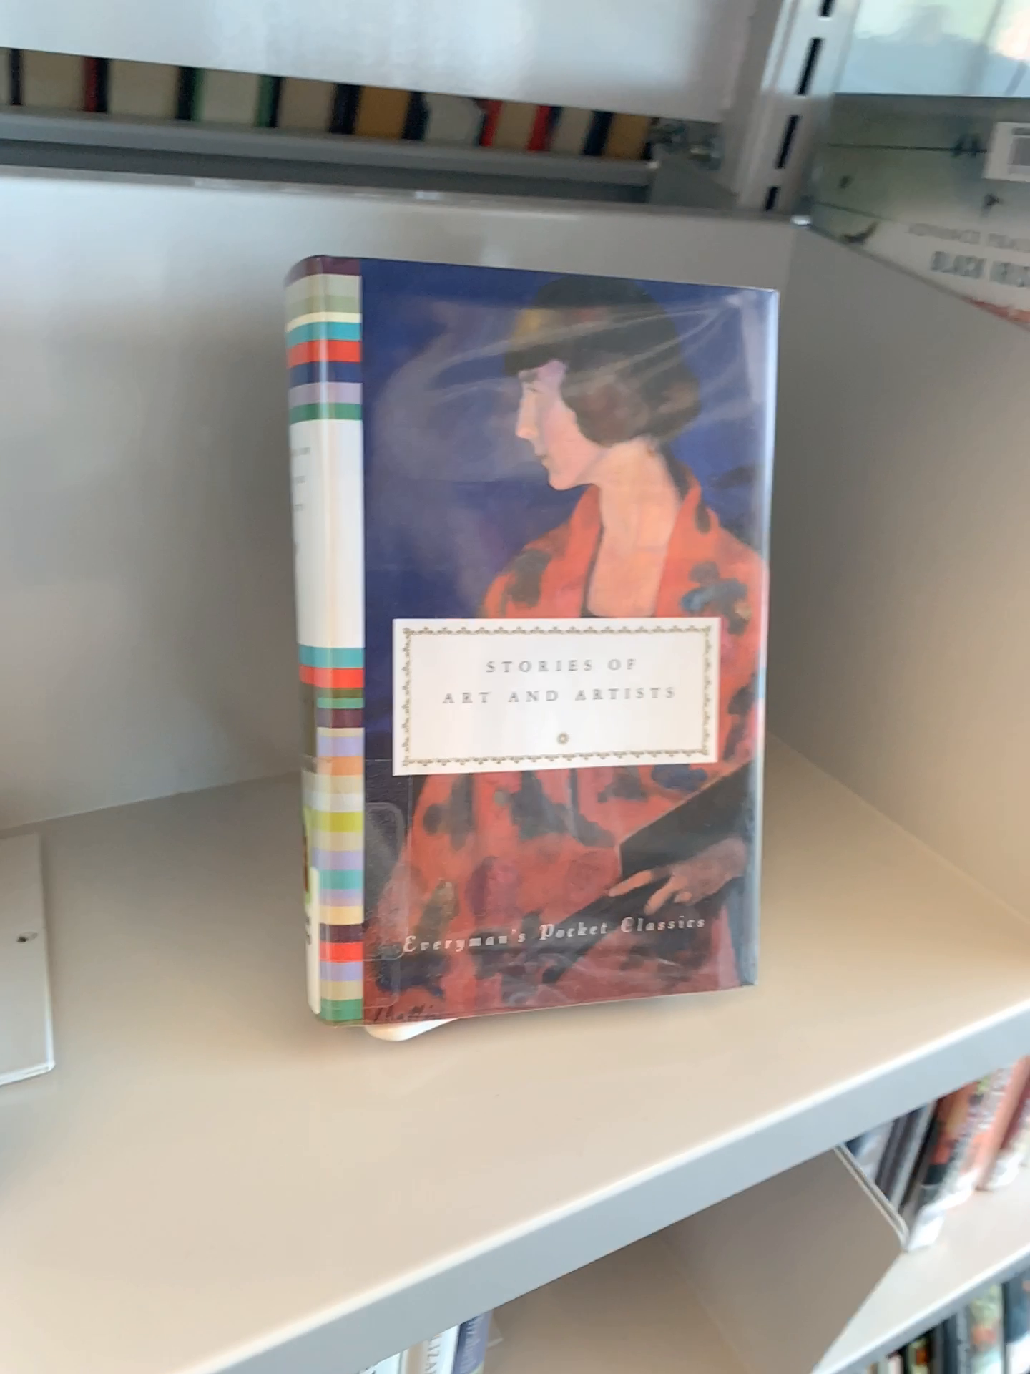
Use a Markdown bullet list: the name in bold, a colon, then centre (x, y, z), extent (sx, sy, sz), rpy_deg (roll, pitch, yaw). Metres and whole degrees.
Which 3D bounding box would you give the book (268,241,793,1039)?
- **book**: centre (0.001, -0.010, 0.286), extent (0.129, 0.187, 0.040), rpy_deg (0, 7, -14)
